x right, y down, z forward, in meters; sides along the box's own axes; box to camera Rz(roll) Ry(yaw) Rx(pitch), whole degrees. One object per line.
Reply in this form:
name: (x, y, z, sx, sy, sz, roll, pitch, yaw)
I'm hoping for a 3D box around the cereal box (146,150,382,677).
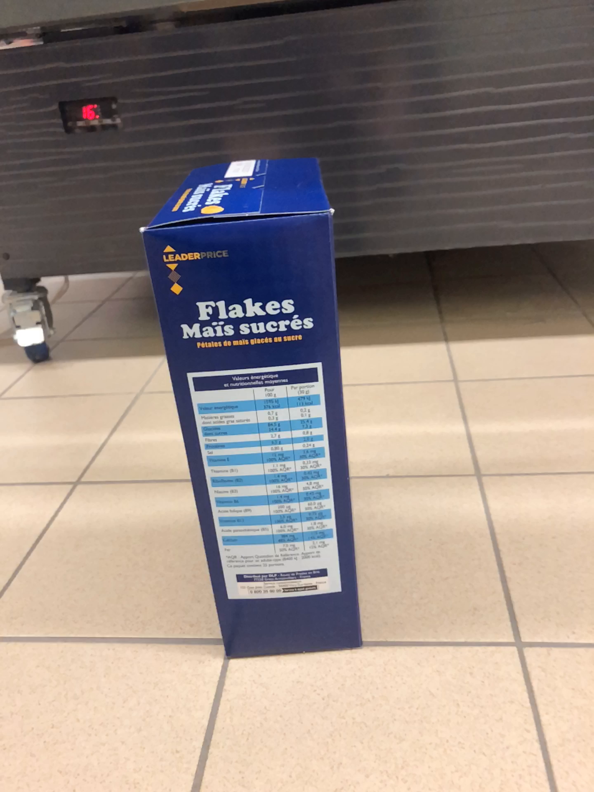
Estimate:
cereal box: (-0.006, 0.002, 0.472, 0.100, 0.308, 0.211, -5, 25, 3)
